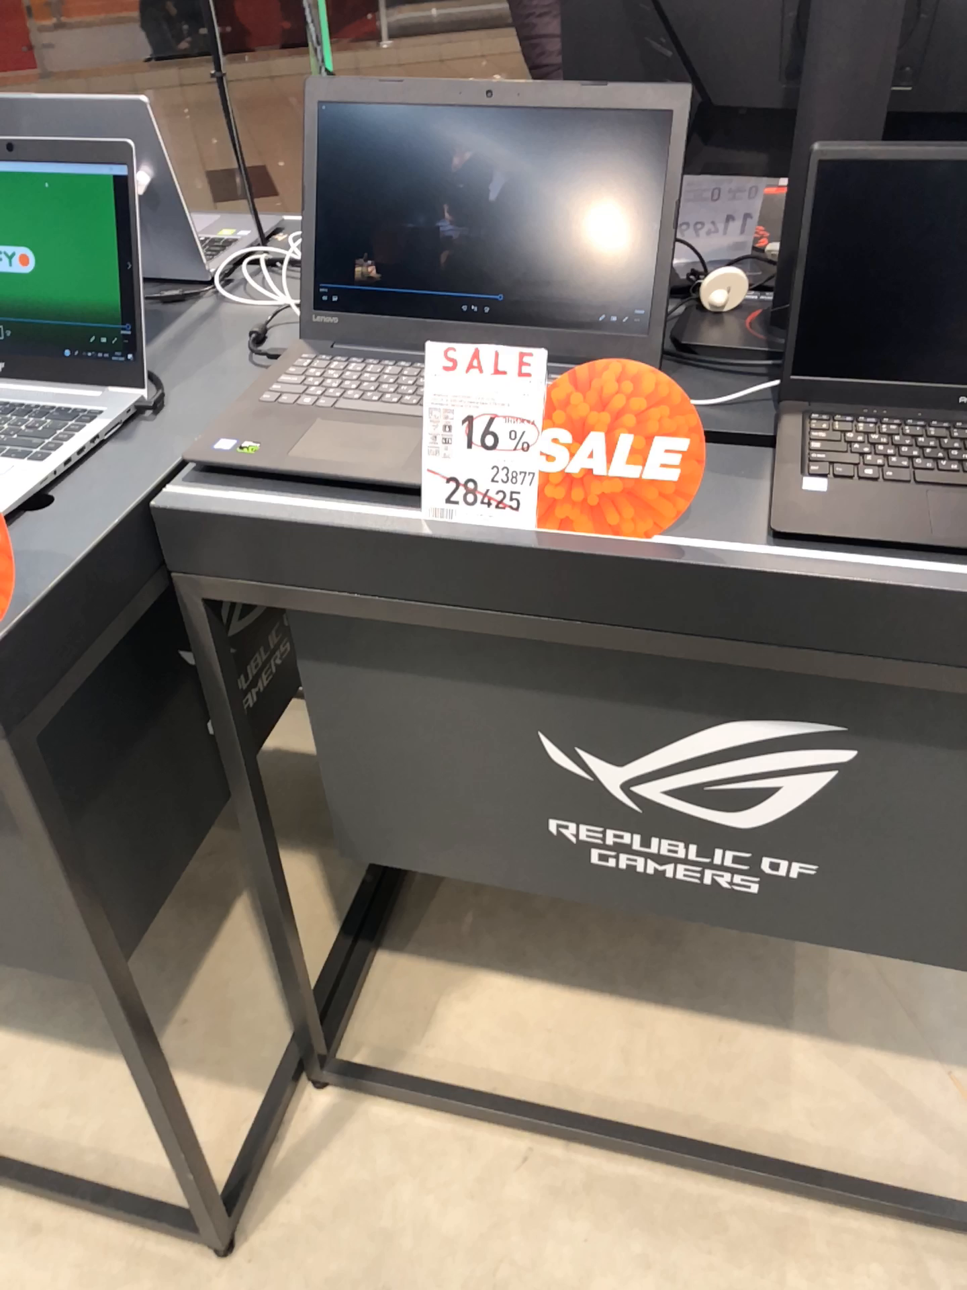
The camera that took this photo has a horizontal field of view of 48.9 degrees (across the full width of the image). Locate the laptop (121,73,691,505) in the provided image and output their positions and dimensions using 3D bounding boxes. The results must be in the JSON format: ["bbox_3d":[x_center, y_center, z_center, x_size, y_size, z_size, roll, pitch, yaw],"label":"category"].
[{"bbox_3d":[-0.039,-0.340,0.955,0.382,0.235,0.336,9,41,15],"label":"laptop"}]
